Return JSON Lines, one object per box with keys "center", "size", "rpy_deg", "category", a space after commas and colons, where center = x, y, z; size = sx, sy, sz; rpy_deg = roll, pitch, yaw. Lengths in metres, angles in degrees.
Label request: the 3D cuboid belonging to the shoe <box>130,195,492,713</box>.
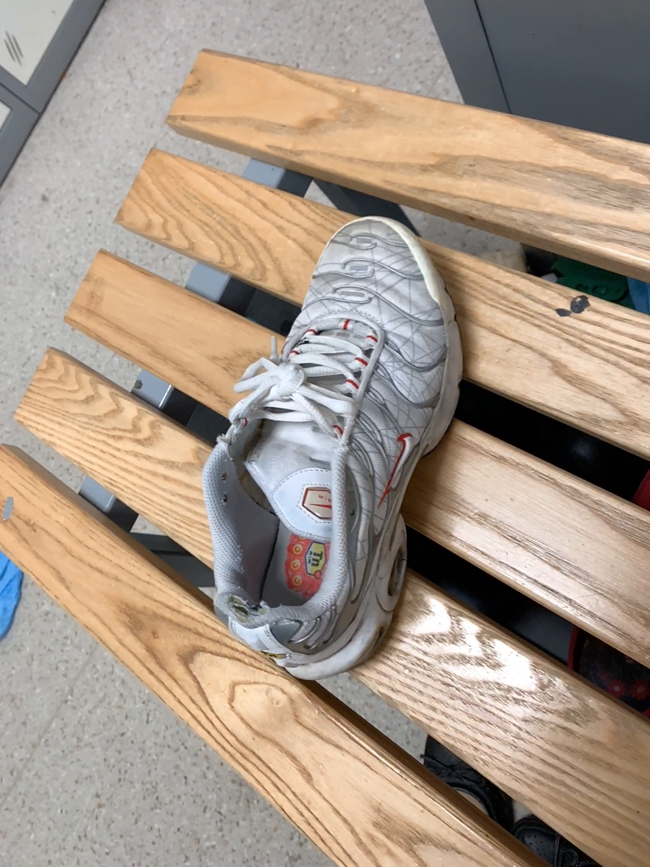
{"center": [0.002, 0.006, 0.354], "size": [0.101, 0.105, 0.226], "rpy_deg": [12, 83, 28], "category": "shoe"}
